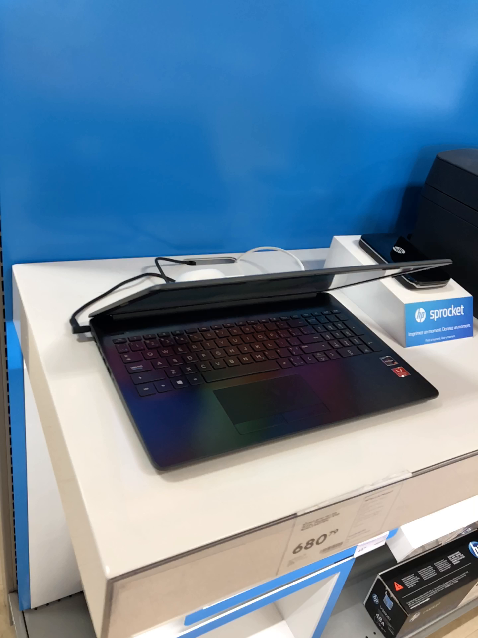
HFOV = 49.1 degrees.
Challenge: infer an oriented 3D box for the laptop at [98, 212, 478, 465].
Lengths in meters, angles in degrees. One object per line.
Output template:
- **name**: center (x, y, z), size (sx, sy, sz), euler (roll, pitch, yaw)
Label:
- **laptop**: center (0.055, -0.013, 0.594), size (0.356, 0.130, 0.243), euler (-7, 35, -32)
